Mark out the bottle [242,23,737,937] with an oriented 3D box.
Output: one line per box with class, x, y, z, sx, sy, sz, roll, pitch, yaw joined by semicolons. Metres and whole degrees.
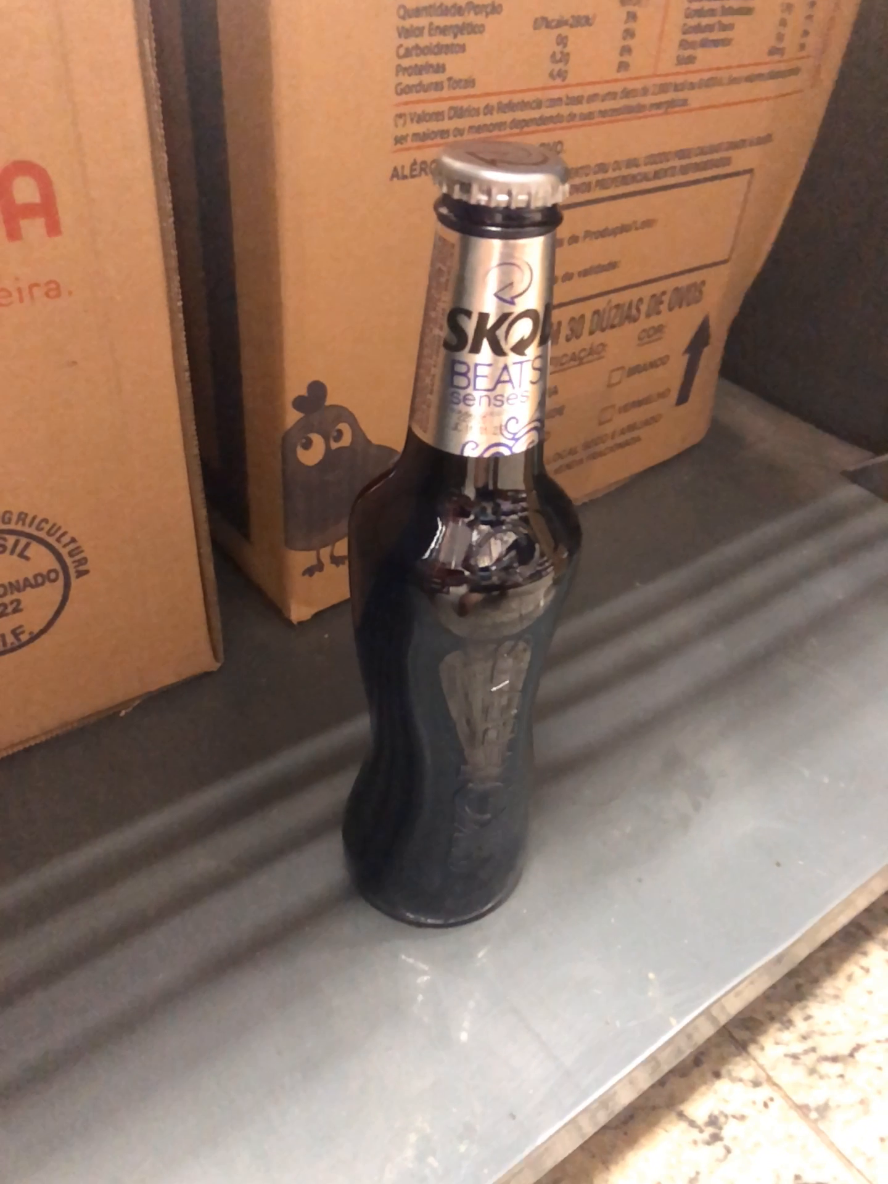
bottle;0.001;-0.012;0.272;0.070;0.238;0.070;2;41;-2
